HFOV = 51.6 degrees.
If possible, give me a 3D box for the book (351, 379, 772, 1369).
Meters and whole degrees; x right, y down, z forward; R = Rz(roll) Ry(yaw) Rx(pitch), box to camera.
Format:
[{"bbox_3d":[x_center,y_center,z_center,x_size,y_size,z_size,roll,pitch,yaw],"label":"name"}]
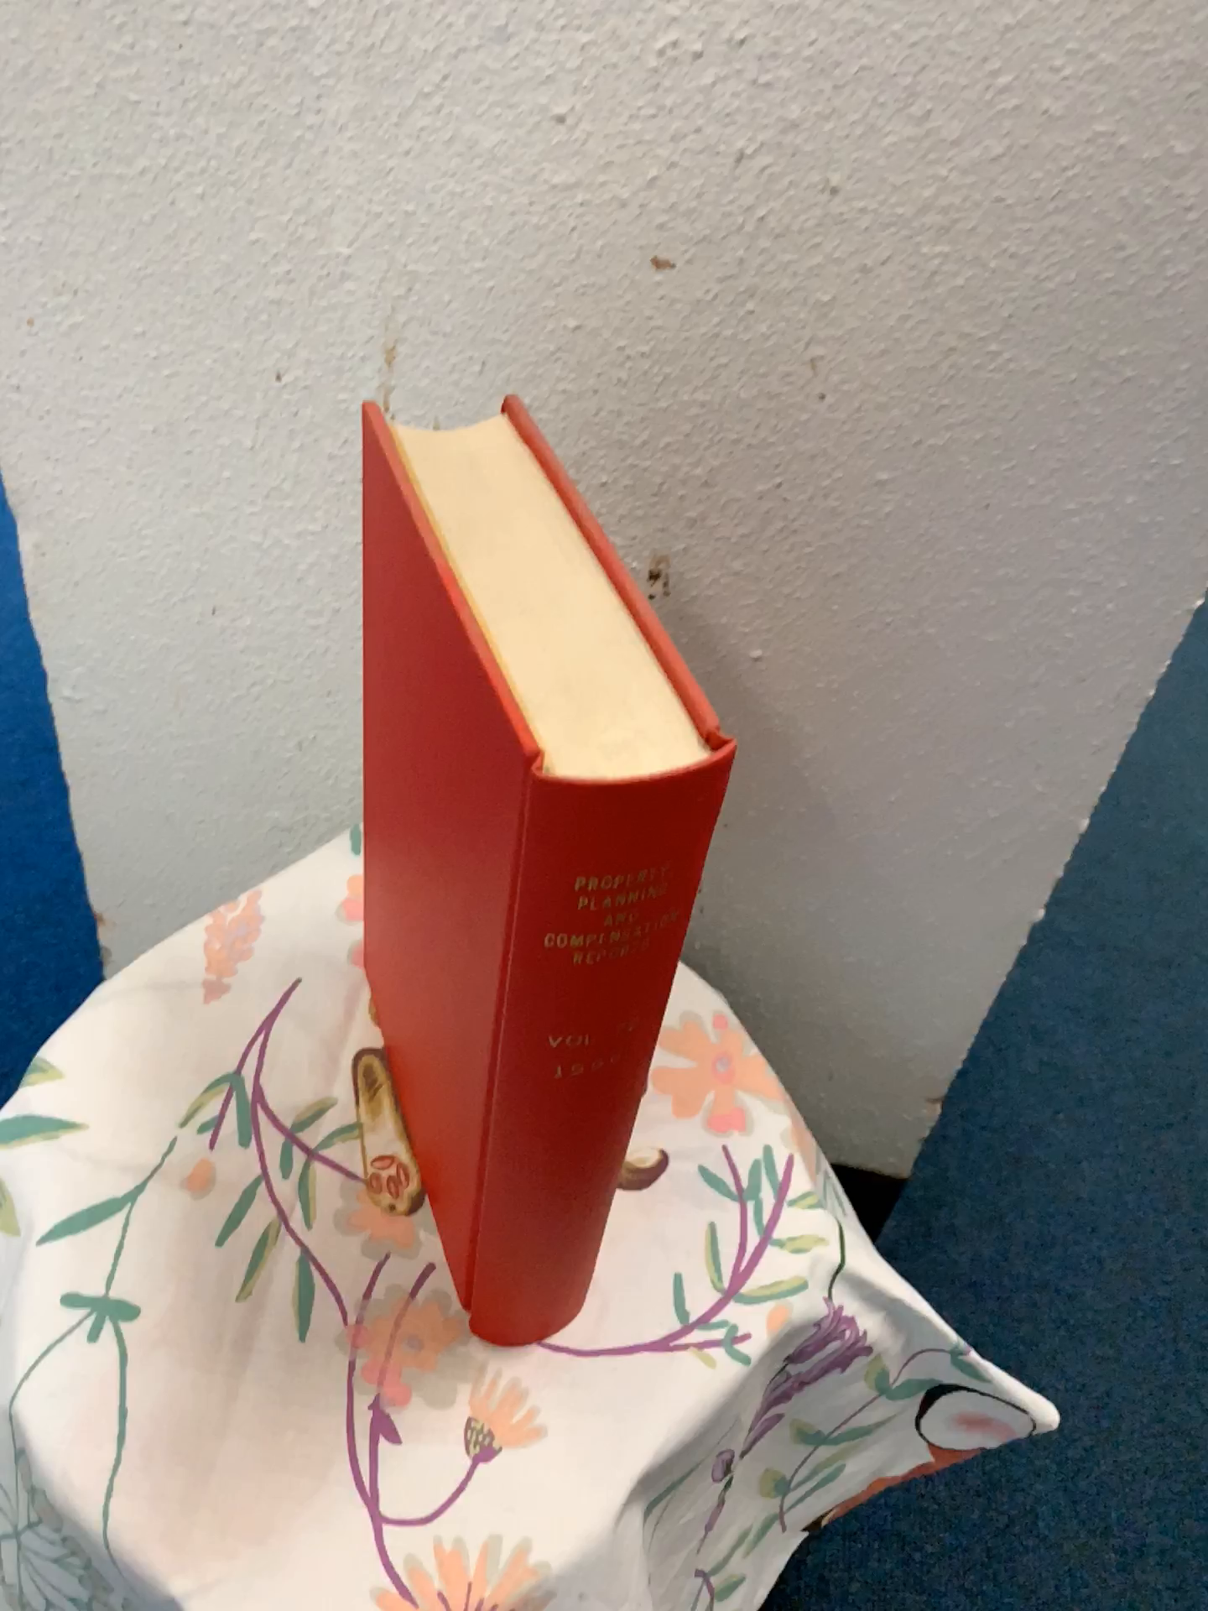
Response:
[{"bbox_3d":[-0.031,0.027,0.376,0.050,0.245,0.169,-9,45,-18],"label":"book"}]
